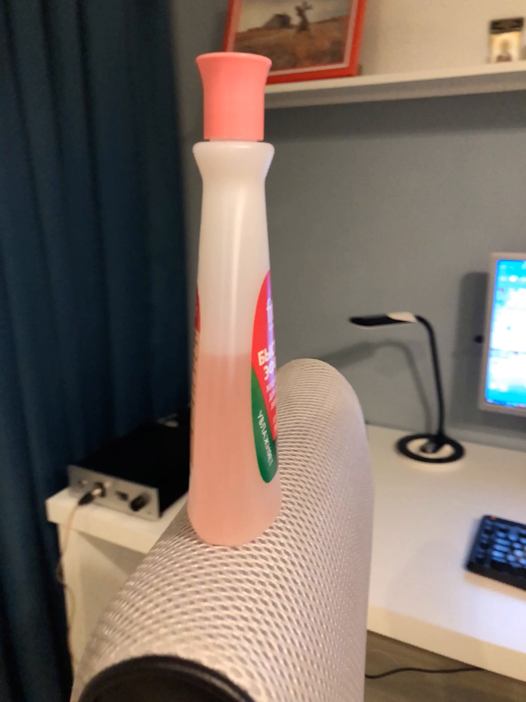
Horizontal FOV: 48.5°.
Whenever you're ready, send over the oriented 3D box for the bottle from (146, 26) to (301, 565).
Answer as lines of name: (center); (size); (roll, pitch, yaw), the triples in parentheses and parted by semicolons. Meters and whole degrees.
bottle: (-0.007, -0.014, 0.197); (0.039, 0.157, 0.056); (0, 16, 4)
